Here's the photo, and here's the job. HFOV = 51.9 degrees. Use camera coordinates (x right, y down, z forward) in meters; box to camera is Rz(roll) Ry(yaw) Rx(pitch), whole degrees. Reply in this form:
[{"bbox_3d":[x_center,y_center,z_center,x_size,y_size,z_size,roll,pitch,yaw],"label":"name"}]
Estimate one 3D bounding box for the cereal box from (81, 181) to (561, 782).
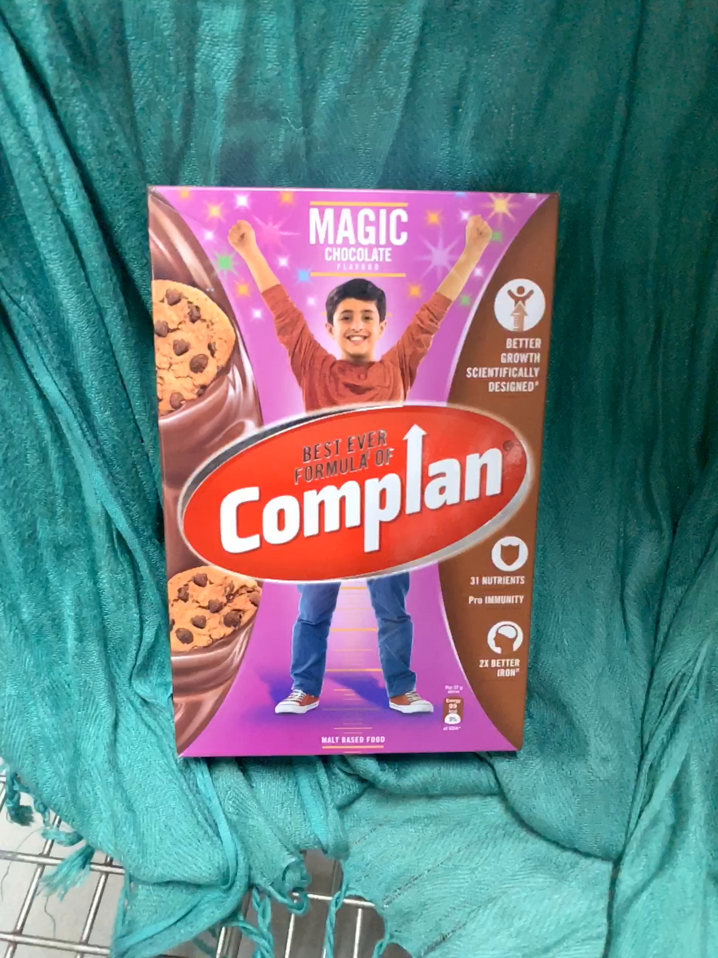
[{"bbox_3d":[-0.012,0.004,0.292,0.160,0.220,0.050,-1,11,-2],"label":"cereal box"}]
